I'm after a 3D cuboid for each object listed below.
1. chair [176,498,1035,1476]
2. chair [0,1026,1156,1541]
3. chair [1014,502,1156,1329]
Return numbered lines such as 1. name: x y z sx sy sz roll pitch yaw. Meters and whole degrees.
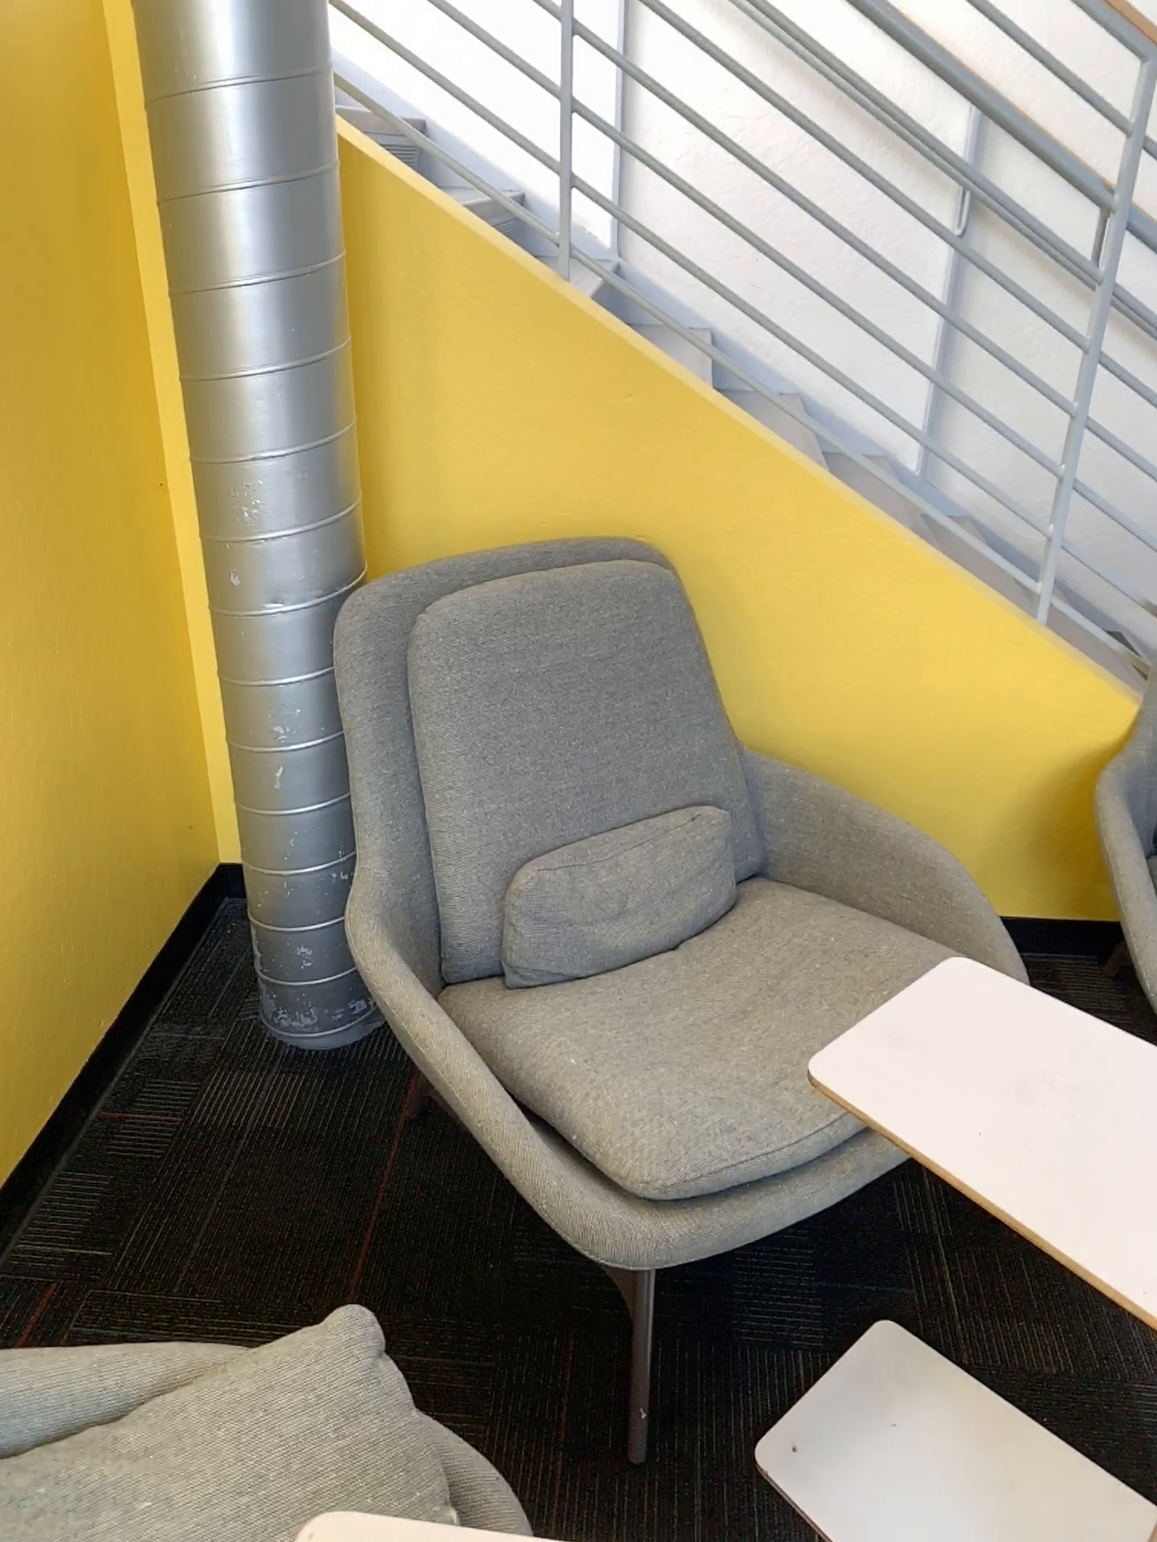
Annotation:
1. chair: 0.022 0.208 1.889 0.891 1.015 0.843 -19 30 -32
2. chair: -0.411 0.768 0.535 0.870 0.925 0.805 -3 27 -2
3. chair: 1.293 0.136 1.994 0.871 0.945 0.884 8 25 14
